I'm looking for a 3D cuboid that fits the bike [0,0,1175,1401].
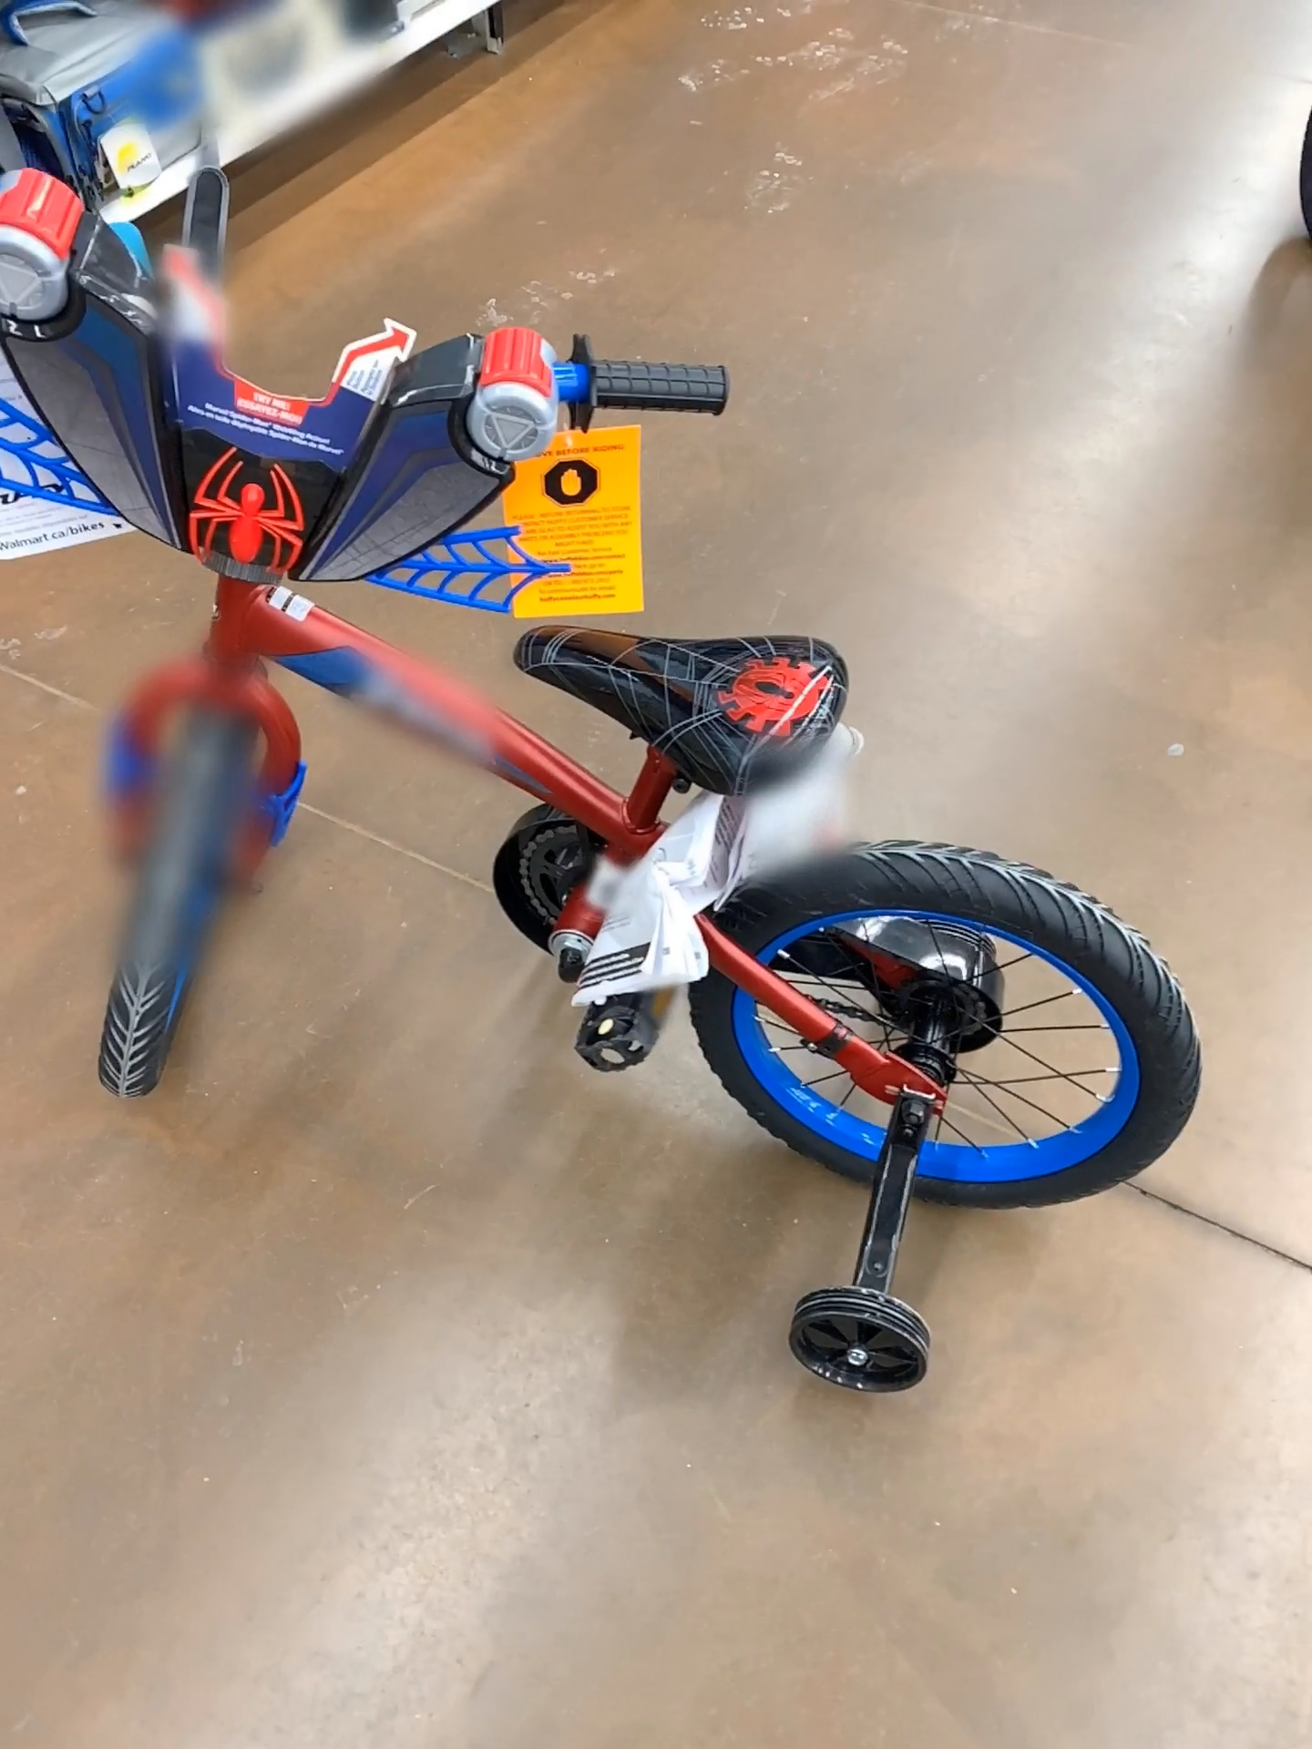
[{"bbox_3d":[-0.089,-0.060,0.784,0.565,0.709,0.477,6,51,5],"label":"bike"}]
